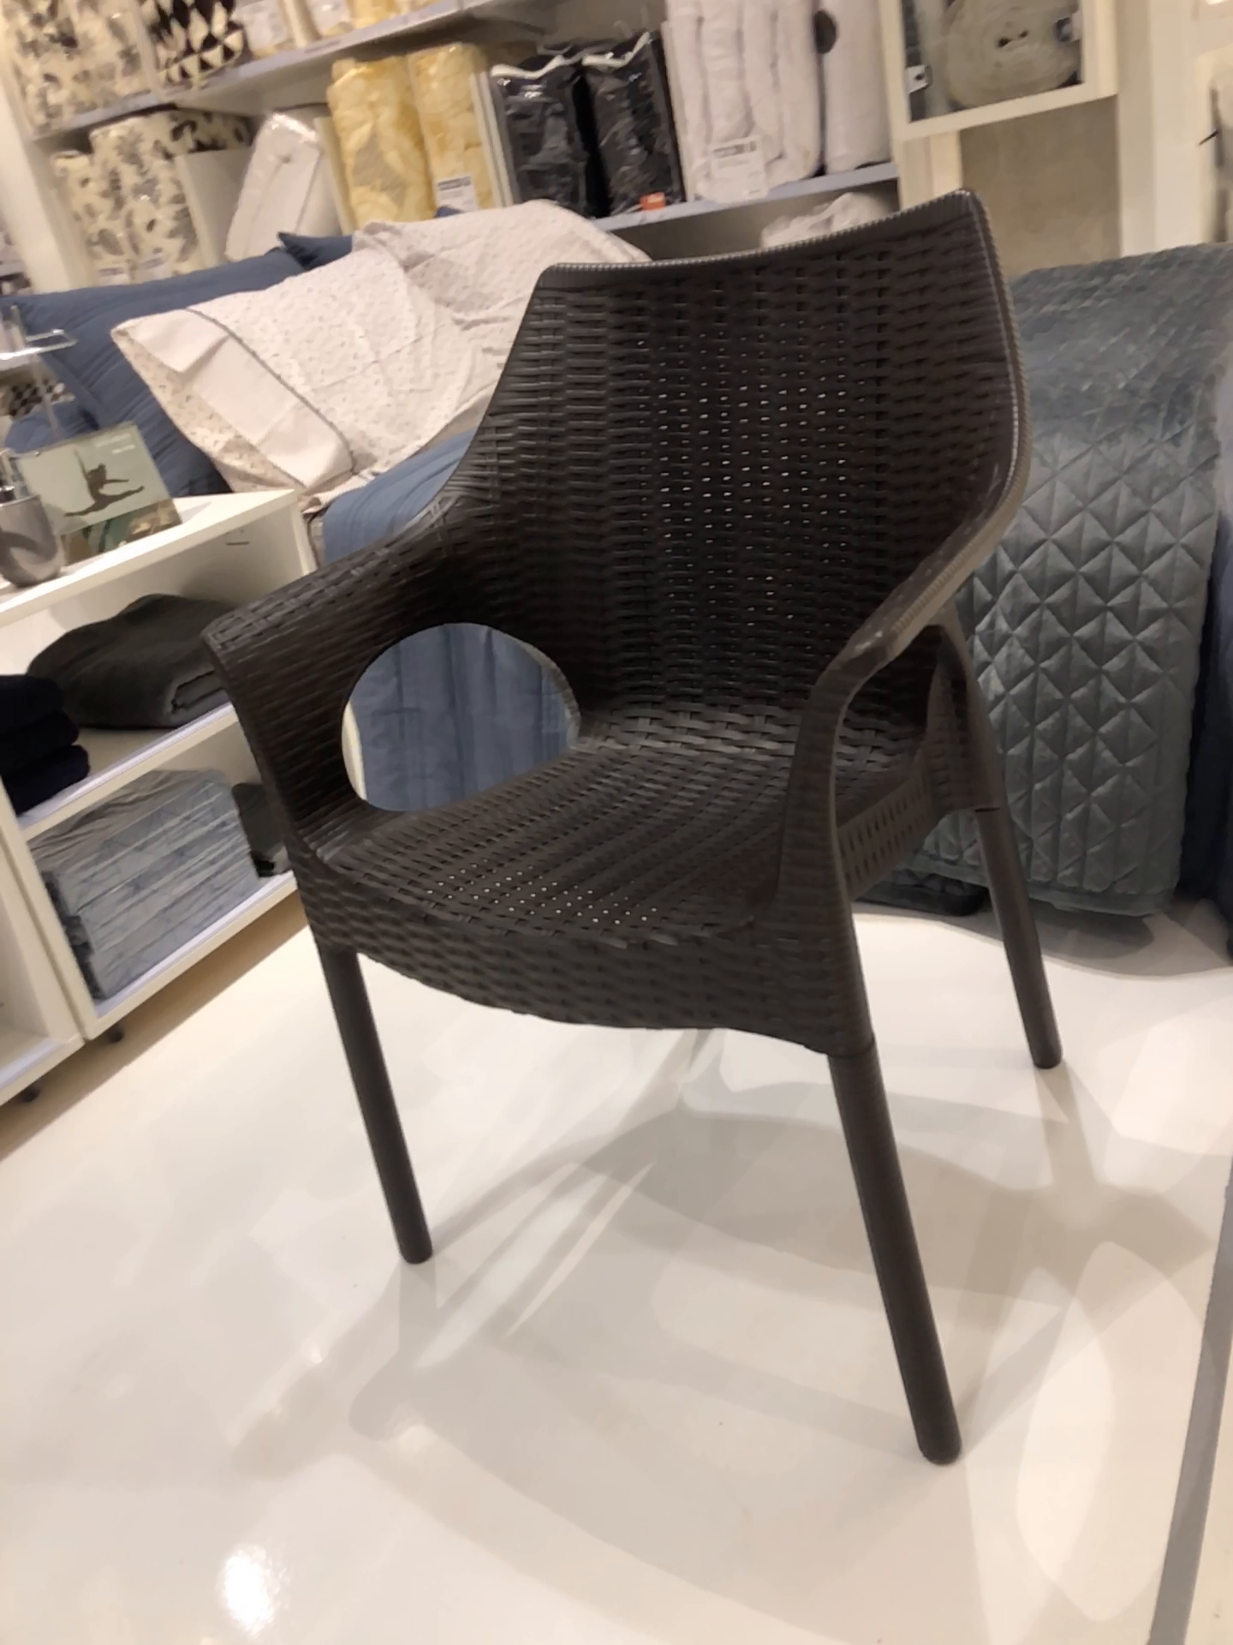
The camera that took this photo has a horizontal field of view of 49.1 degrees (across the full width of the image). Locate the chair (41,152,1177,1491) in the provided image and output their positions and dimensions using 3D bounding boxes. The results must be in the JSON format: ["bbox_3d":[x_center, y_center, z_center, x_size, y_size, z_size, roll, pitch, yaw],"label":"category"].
[{"bbox_3d":[0.073,-0.052,1.119,0.591,0.765,0.573,6,30,35],"label":"chair"}]
